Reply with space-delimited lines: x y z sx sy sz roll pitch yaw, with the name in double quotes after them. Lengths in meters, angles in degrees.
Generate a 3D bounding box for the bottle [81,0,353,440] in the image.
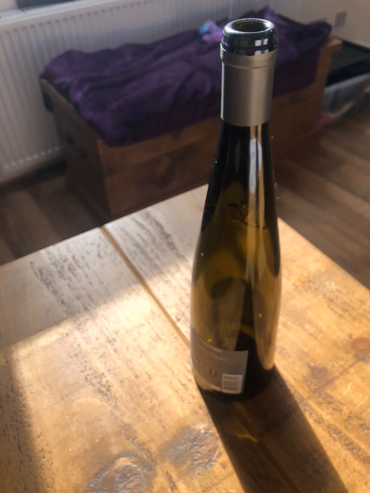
0.026 0.012 0.322 0.100 0.338 0.101 -1 44 1 "bottle"
